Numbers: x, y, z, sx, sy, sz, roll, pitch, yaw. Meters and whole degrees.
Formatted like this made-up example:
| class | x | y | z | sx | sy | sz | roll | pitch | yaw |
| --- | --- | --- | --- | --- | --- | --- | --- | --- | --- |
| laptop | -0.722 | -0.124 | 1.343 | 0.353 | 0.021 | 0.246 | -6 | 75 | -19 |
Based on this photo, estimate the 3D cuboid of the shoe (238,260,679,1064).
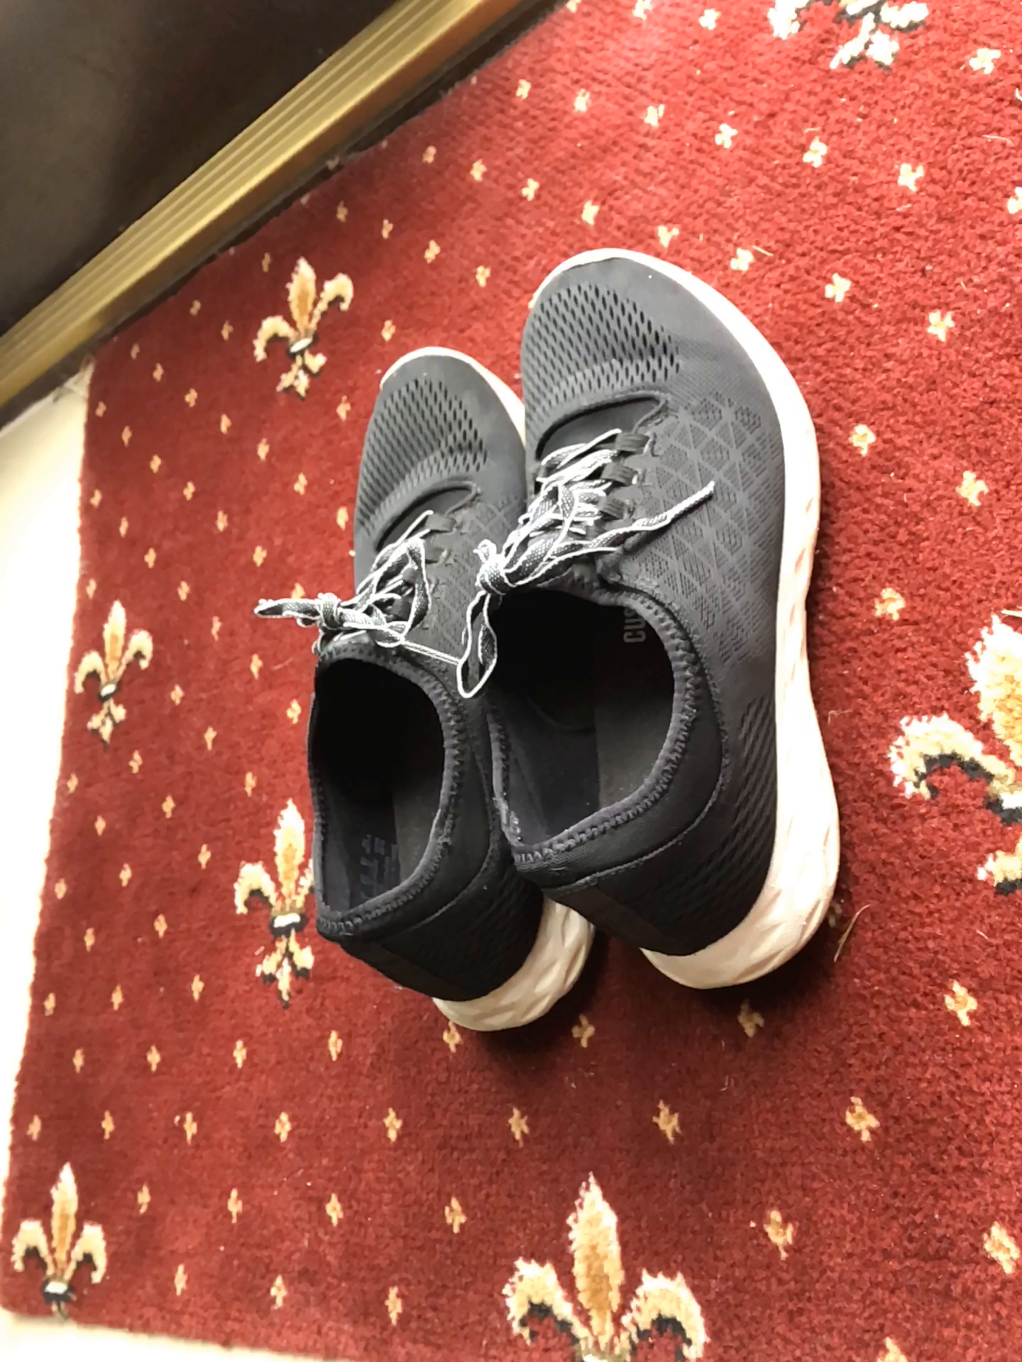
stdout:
| class | x | y | z | sx | sy | sz | roll | pitch | yaw |
| --- | --- | --- | --- | --- | --- | --- | --- | --- | --- |
| shoe | -0.025 | -0.001 | 0.432 | 0.100 | 0.109 | 0.271 | -21 | 62 | 35 |

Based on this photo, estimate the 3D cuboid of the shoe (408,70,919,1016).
| class | x | y | z | sx | sy | sz | roll | pitch | yaw |
| --- | --- | --- | --- | --- | --- | --- | --- | --- | --- |
| shoe | 0.041 | -0.037 | 0.372 | 0.100 | 0.109 | 0.271 | -18 | 64 | 36 |
